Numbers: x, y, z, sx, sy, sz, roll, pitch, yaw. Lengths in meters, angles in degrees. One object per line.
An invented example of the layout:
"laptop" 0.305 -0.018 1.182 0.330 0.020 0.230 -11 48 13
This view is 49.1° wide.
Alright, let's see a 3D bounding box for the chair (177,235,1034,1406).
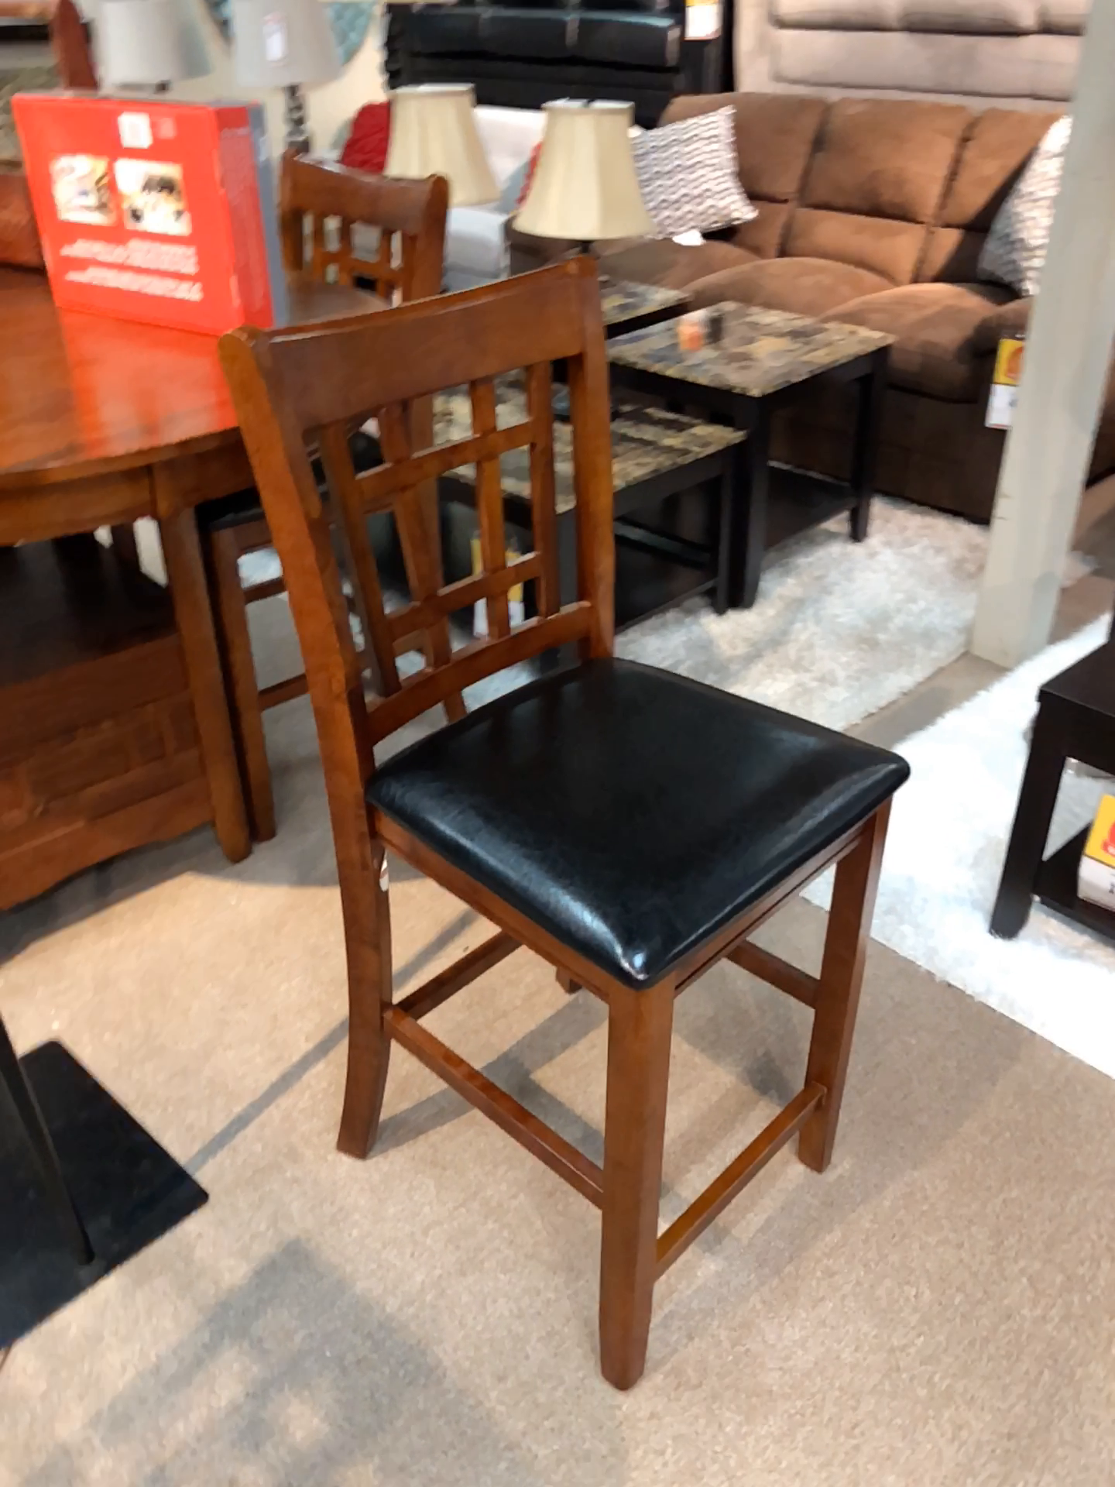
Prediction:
"chair" 0.038 0.056 1.249 0.522 0.963 0.471 26 40 36
